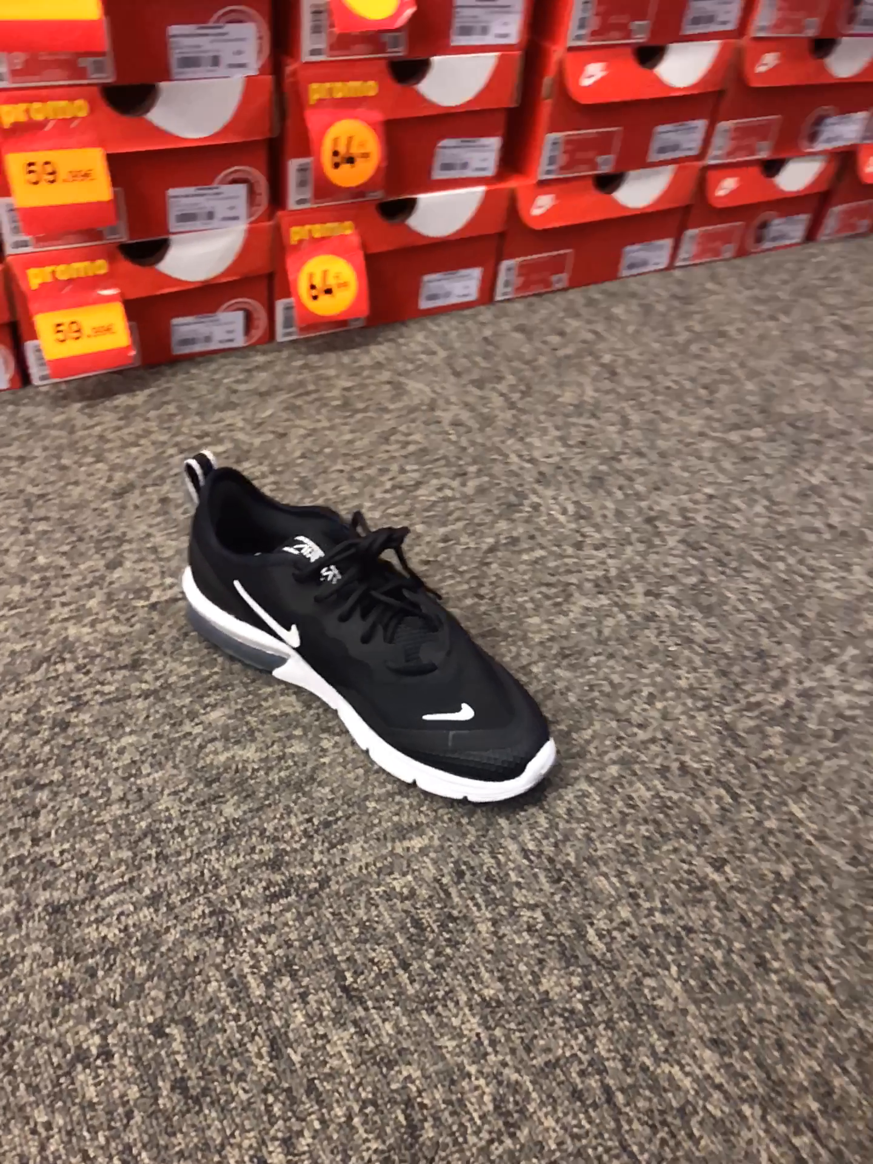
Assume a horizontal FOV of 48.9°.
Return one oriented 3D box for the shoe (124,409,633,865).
[{"bbox_3d":[-0.040,0.022,0.537,0.256,0.109,0.101,30,47,19],"label":"shoe"}]
